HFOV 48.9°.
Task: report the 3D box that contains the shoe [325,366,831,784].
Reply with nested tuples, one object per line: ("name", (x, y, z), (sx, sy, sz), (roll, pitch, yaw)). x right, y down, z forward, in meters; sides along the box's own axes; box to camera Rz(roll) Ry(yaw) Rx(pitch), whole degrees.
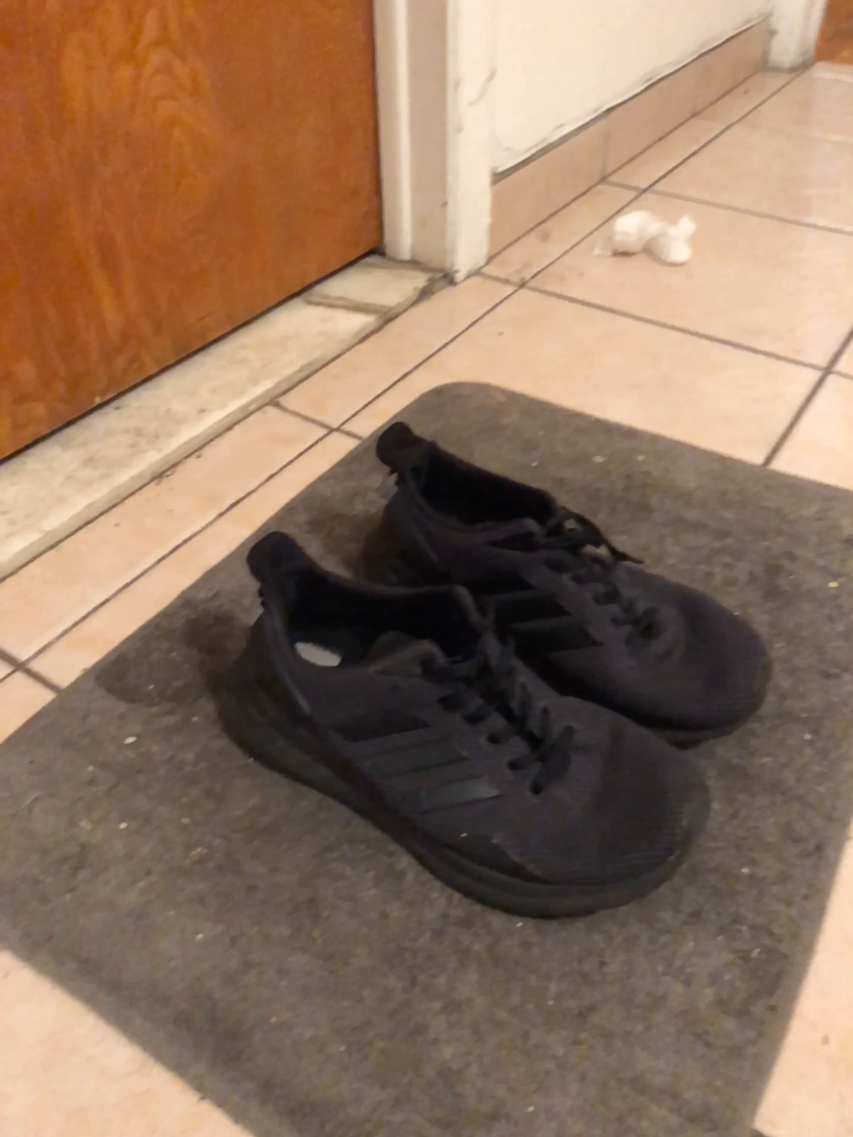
("shoe", (0.079, -0.007, 0.564), (0.261, 0.119, 0.111), (26, 48, 26))

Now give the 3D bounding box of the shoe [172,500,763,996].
("shoe", (0.015, 0.079, 0.483), (0.261, 0.119, 0.111), (20, 42, 22))
